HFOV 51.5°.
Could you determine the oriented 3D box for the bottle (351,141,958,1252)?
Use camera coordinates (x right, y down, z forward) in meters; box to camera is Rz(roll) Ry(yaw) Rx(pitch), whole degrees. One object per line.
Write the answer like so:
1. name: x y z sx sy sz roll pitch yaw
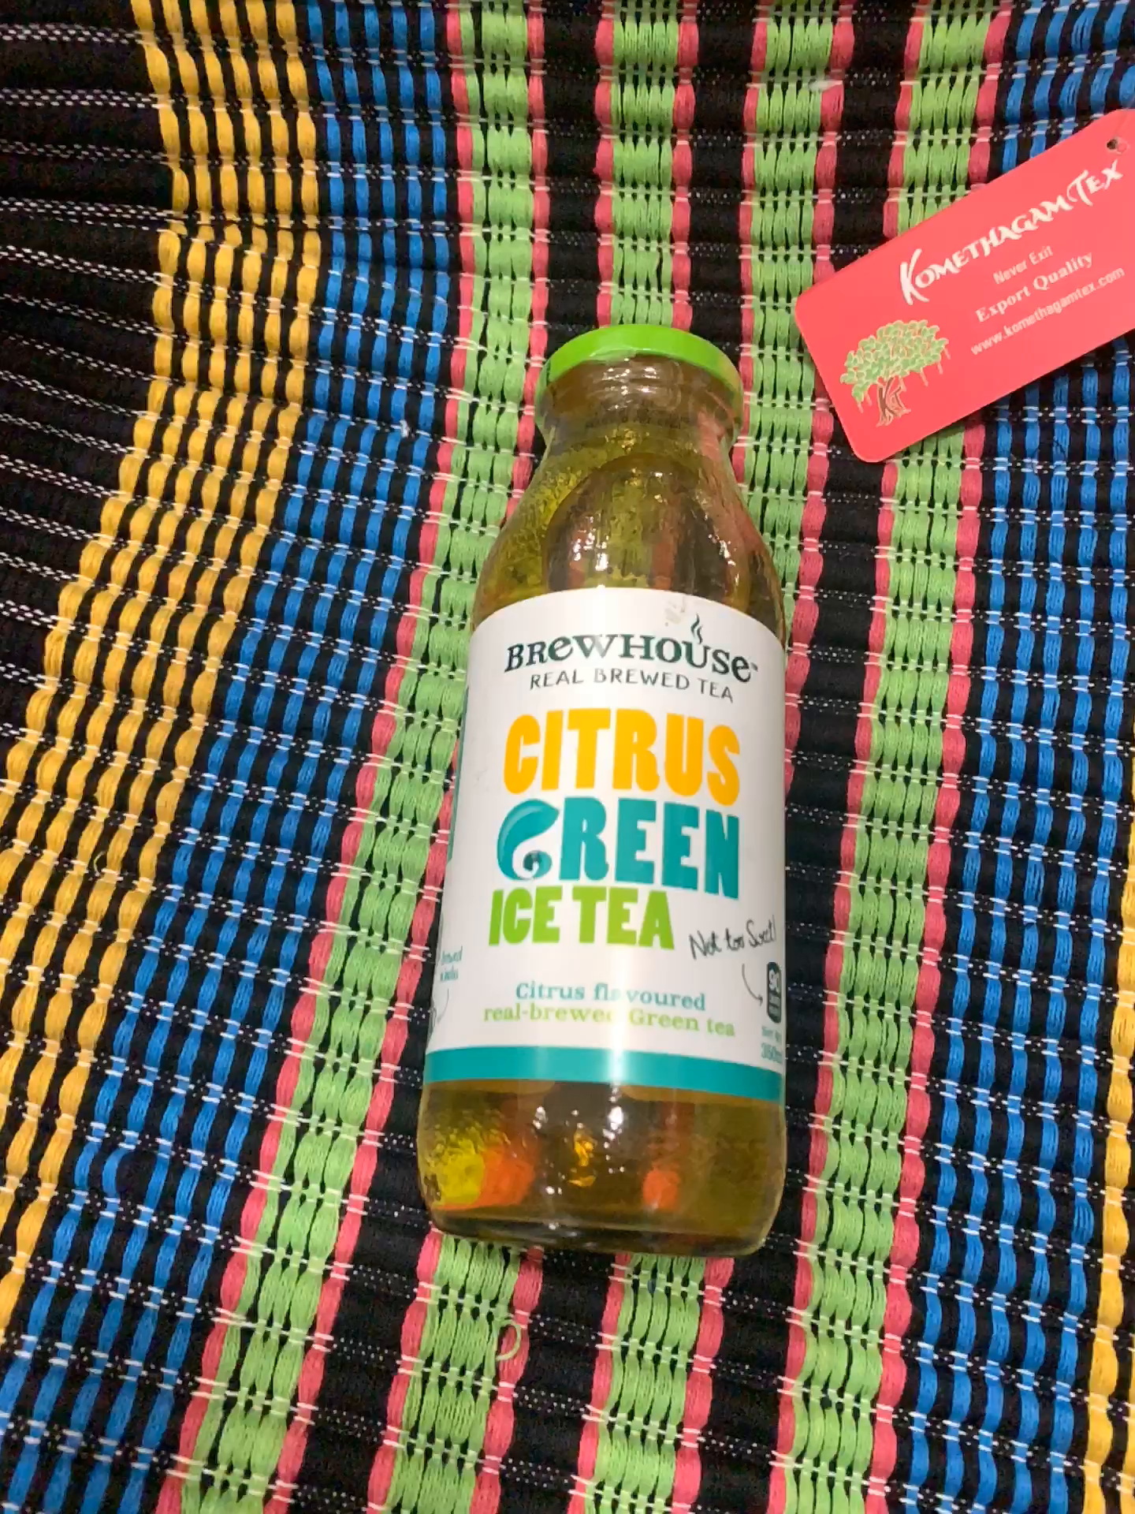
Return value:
1. bottle: 0.017 -0.013 0.223 0.080 0.070 0.190 7 67 -3
